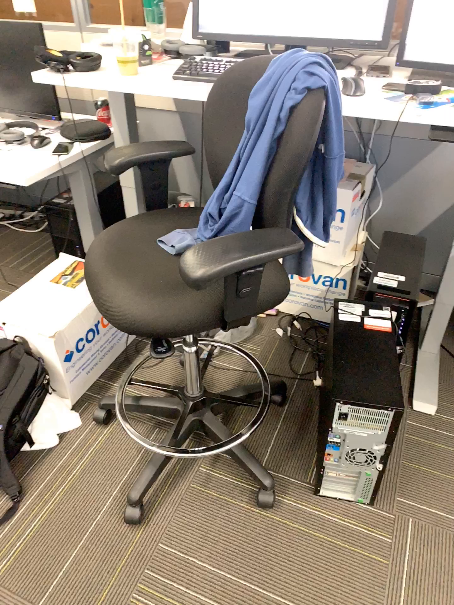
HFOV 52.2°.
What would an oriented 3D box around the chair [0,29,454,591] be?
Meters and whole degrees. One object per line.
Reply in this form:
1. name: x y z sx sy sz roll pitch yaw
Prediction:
1. chair: -0.101 -0.031 1.245 0.741 1.103 0.754 -22 42 -26
